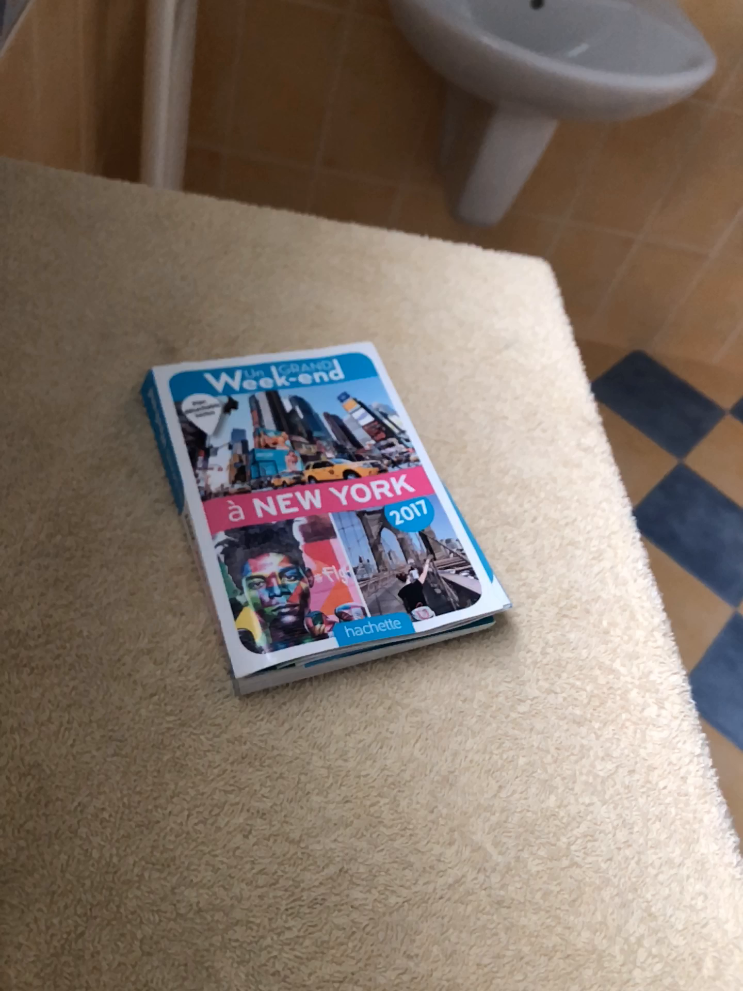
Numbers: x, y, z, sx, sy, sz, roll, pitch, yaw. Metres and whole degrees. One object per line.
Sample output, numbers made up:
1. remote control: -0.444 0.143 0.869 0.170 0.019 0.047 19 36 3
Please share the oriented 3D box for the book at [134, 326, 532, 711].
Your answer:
1. book: -0.023 -0.003 0.347 0.120 0.020 0.160 -11 55 -18
